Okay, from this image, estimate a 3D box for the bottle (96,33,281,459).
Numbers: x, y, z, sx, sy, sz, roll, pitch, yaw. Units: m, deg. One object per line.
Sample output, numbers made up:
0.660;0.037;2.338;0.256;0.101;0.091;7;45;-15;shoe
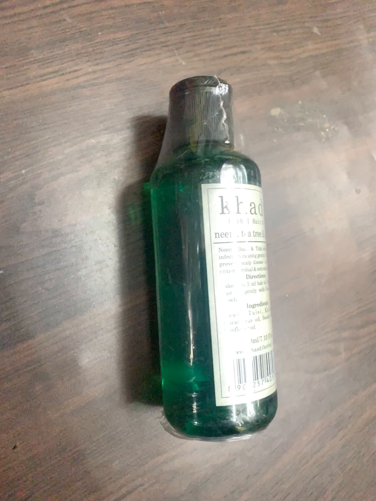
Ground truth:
0.001;-0.001;0.173;0.050;0.050;0.150;-1;85;-53;bottle
